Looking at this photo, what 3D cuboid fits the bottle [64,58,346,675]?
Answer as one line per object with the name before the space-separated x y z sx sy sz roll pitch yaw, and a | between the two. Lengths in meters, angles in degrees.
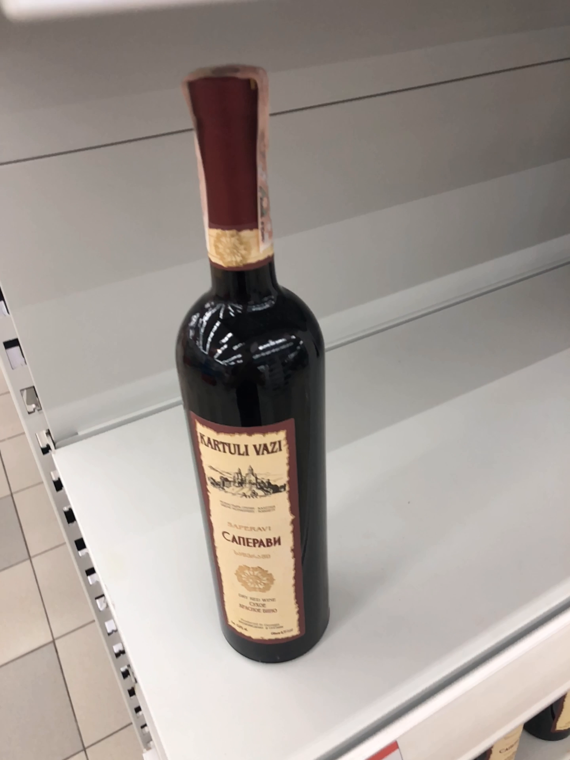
bottle | -0.015 0.019 0.299 0.079 0.299 0.069 4 36 11
